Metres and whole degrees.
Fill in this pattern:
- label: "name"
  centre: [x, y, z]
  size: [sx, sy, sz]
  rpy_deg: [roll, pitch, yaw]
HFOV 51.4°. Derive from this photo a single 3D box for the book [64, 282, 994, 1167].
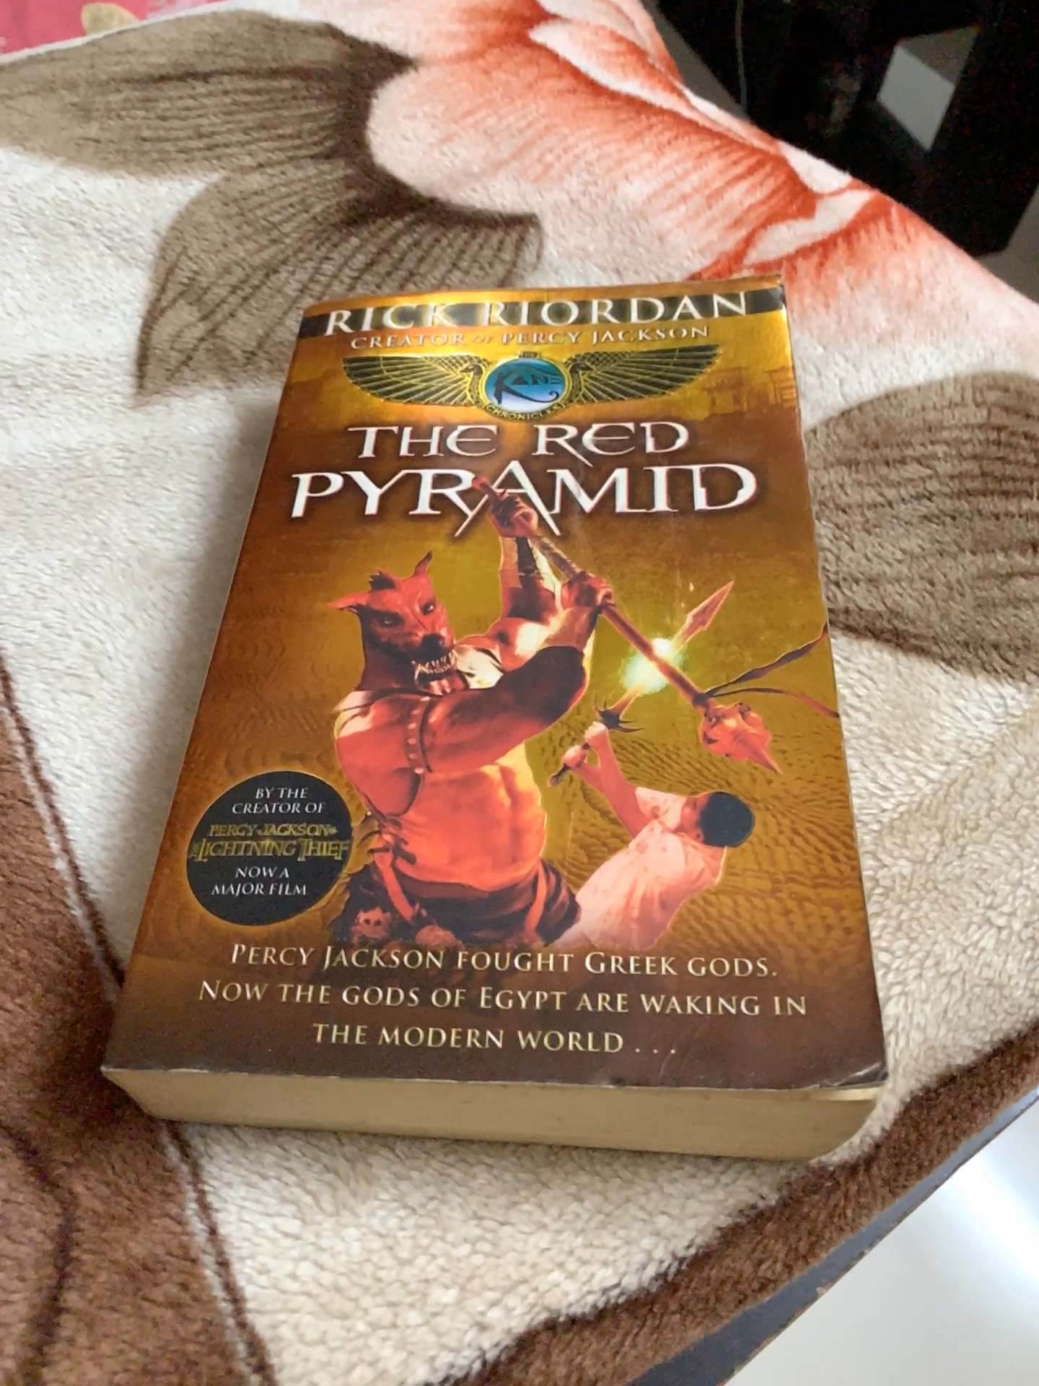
- label: "book"
  centre: [0.006, -0.014, 0.255]
  size: [0.150, 0.040, 0.221]
  rpy_deg: [1, 54, 3]
